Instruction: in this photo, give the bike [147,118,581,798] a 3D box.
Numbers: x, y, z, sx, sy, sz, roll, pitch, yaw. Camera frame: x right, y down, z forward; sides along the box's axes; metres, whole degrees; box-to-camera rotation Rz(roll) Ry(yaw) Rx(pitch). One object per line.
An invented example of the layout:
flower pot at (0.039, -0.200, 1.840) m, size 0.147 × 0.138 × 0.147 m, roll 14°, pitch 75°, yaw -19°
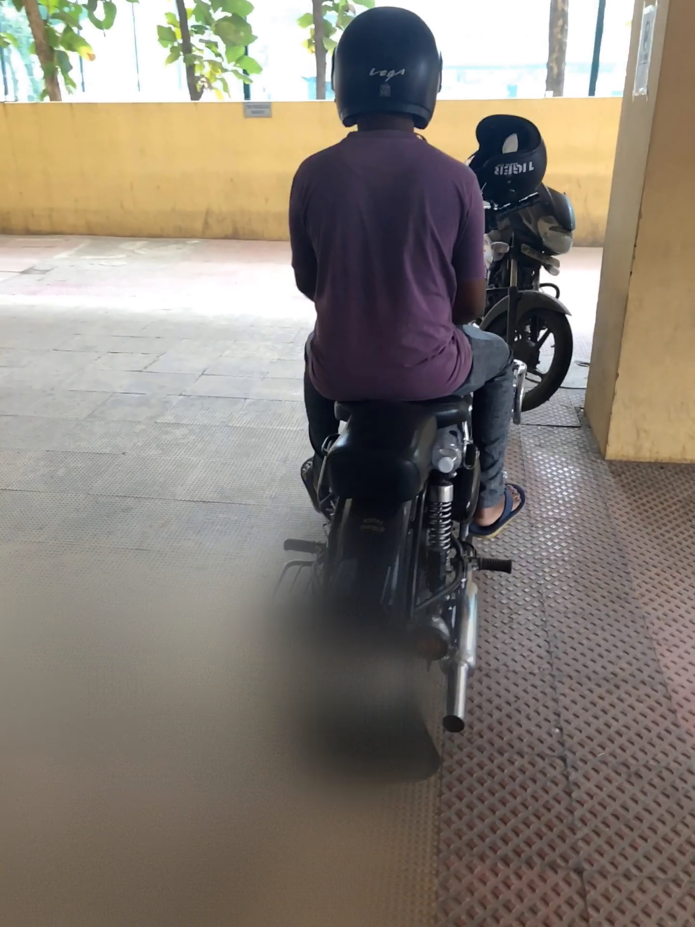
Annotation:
bike at (0.046, -0.267, 2.243) m, size 0.726 × 1.096 × 1.773 m, roll 1°, pitch 31°, yaw 3°
